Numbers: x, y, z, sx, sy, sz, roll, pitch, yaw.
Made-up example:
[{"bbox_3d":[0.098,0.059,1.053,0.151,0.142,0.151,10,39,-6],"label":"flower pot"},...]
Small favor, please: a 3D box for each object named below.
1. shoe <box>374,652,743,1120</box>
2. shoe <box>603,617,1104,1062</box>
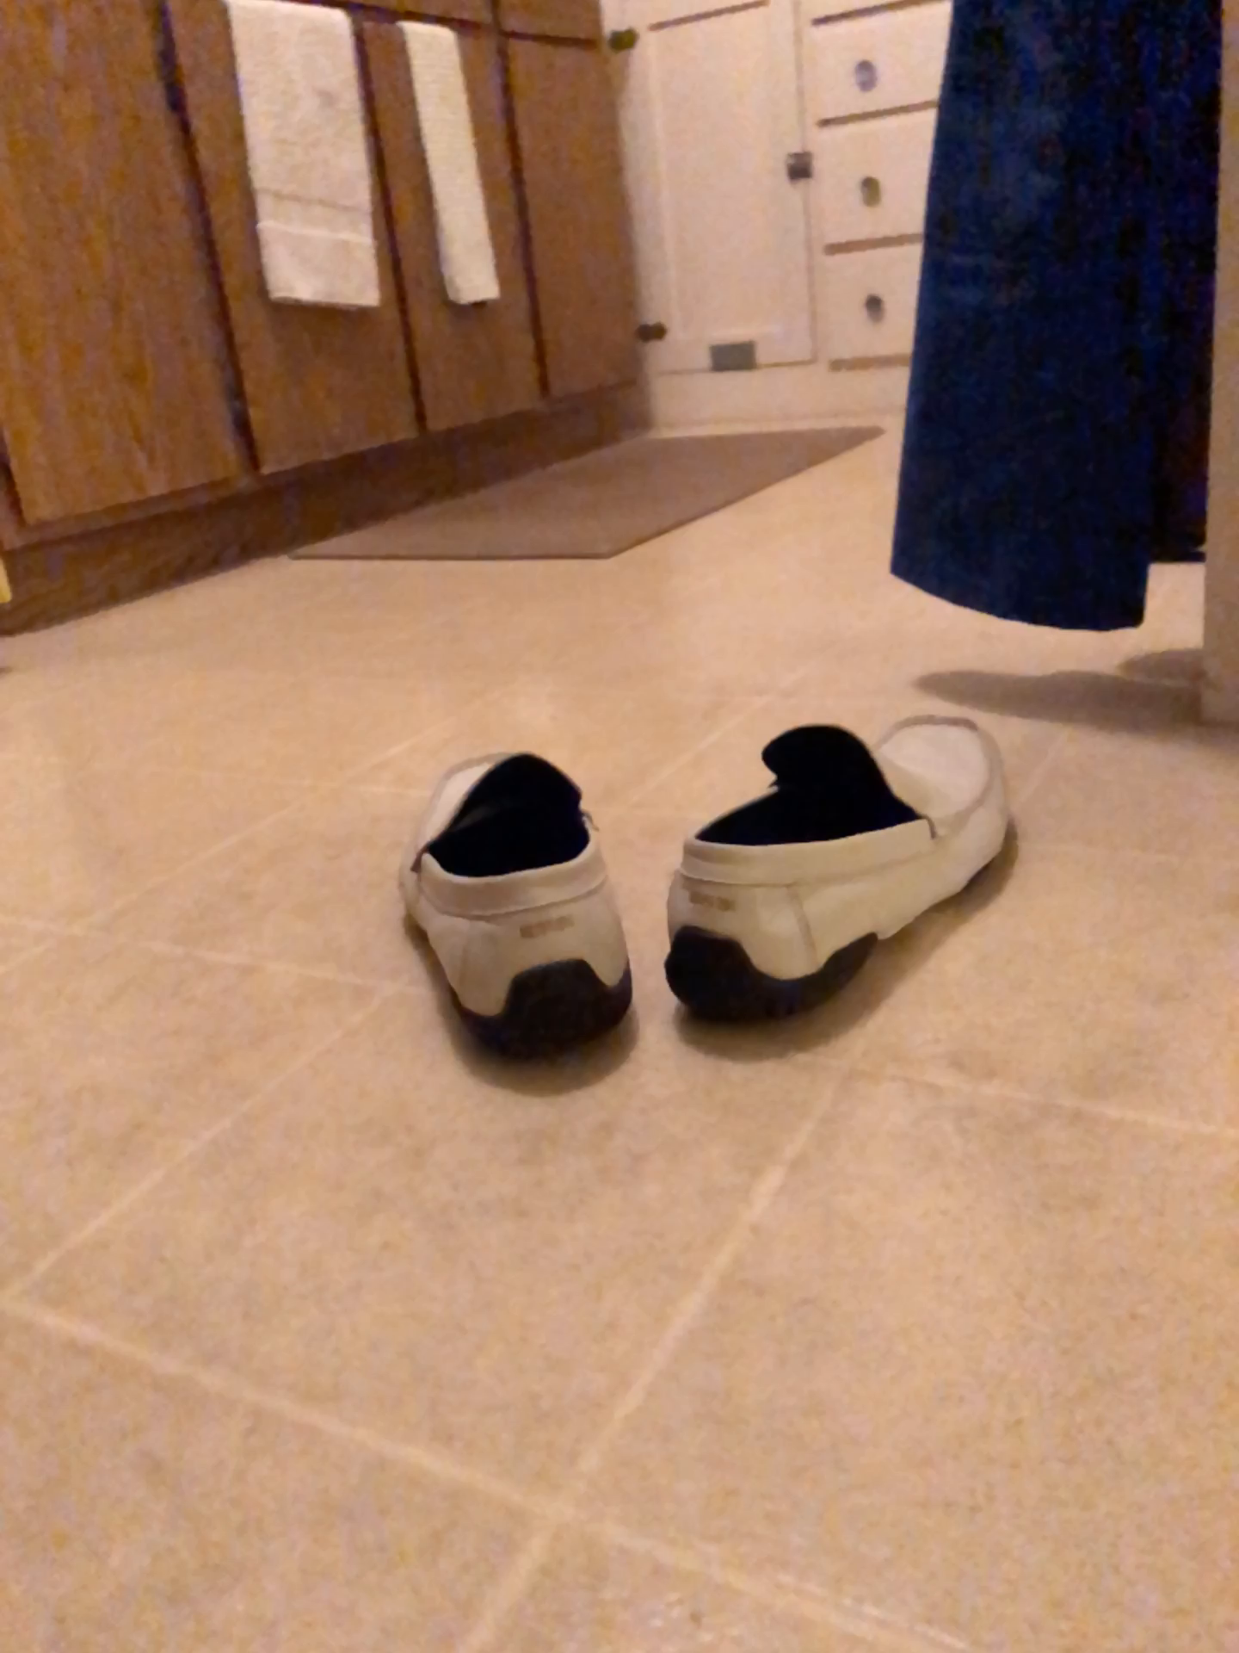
[{"bbox_3d":[-0.045,0.006,0.659,0.110,0.097,0.308,-11,22,-10],"label":"shoe"},{"bbox_3d":[0.128,-0.014,0.651,0.110,0.097,0.290,9,27,35],"label":"shoe"}]
